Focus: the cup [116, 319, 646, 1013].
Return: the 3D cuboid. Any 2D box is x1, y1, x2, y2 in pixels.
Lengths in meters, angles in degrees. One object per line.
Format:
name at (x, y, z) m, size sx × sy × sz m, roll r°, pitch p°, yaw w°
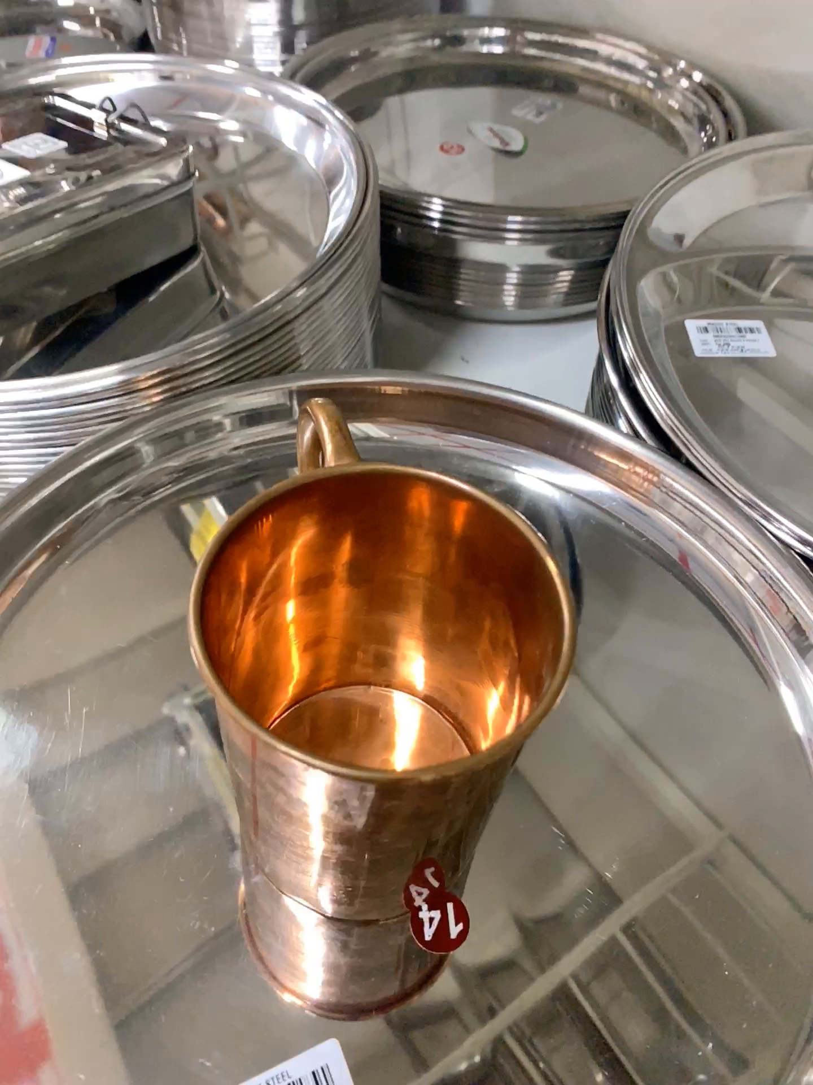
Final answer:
cup at (-0.016, 0.034, 0.231) m, size 0.080 × 0.120 × 0.130 m, roll -15°, pitch 53°, yaw -12°
